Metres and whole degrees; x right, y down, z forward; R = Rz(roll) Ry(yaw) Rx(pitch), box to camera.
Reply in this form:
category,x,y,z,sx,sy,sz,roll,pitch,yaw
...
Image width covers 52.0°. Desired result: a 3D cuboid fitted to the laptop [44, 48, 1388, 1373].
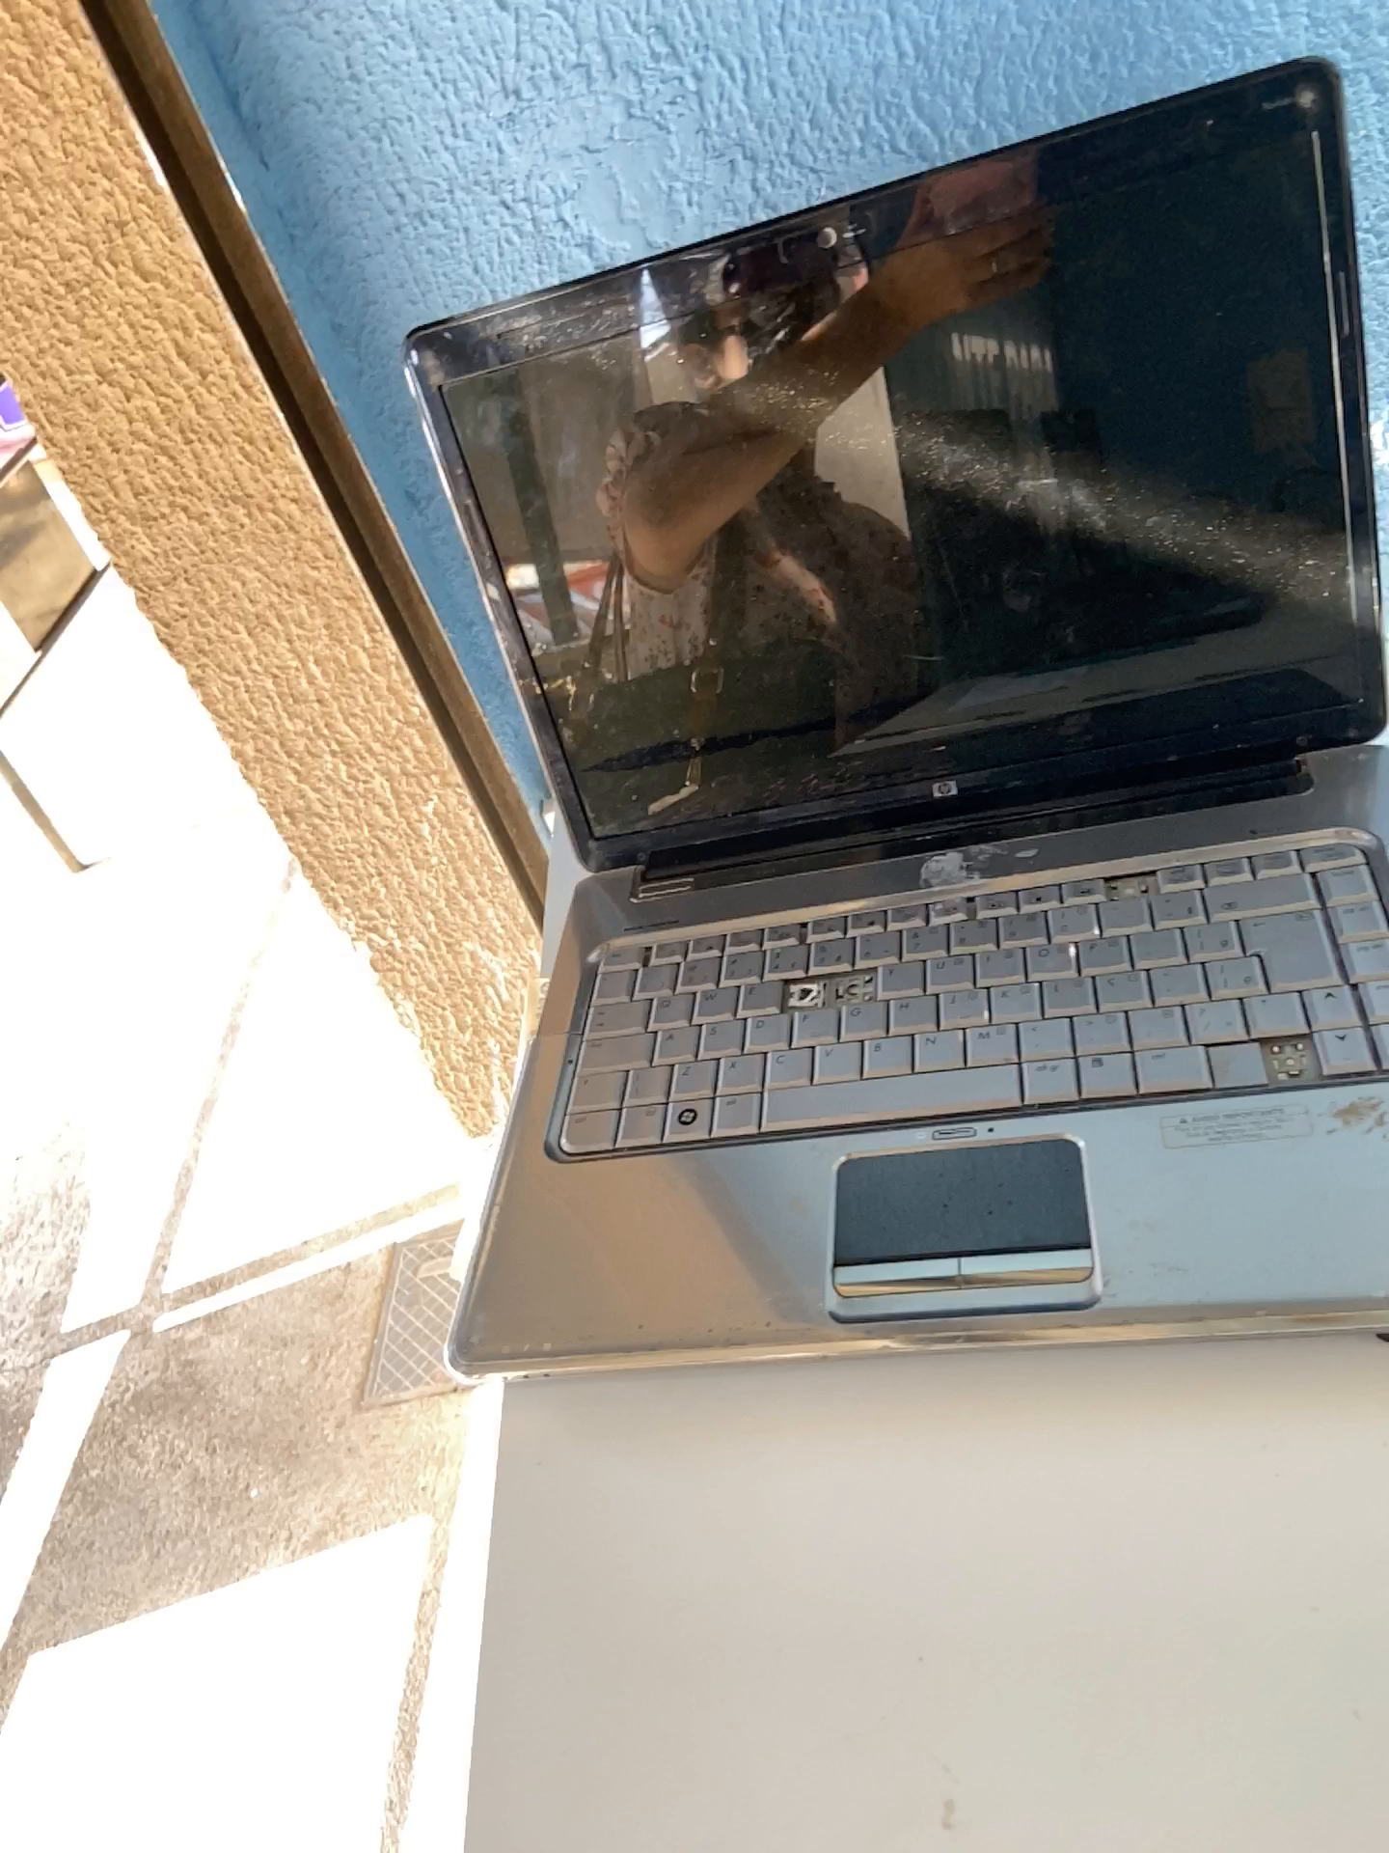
category,x,y,z,sx,sy,sz,roll,pitch,yaw
laptop,0.064,-0.073,0.481,0.351,0.233,0.330,-9,40,17
